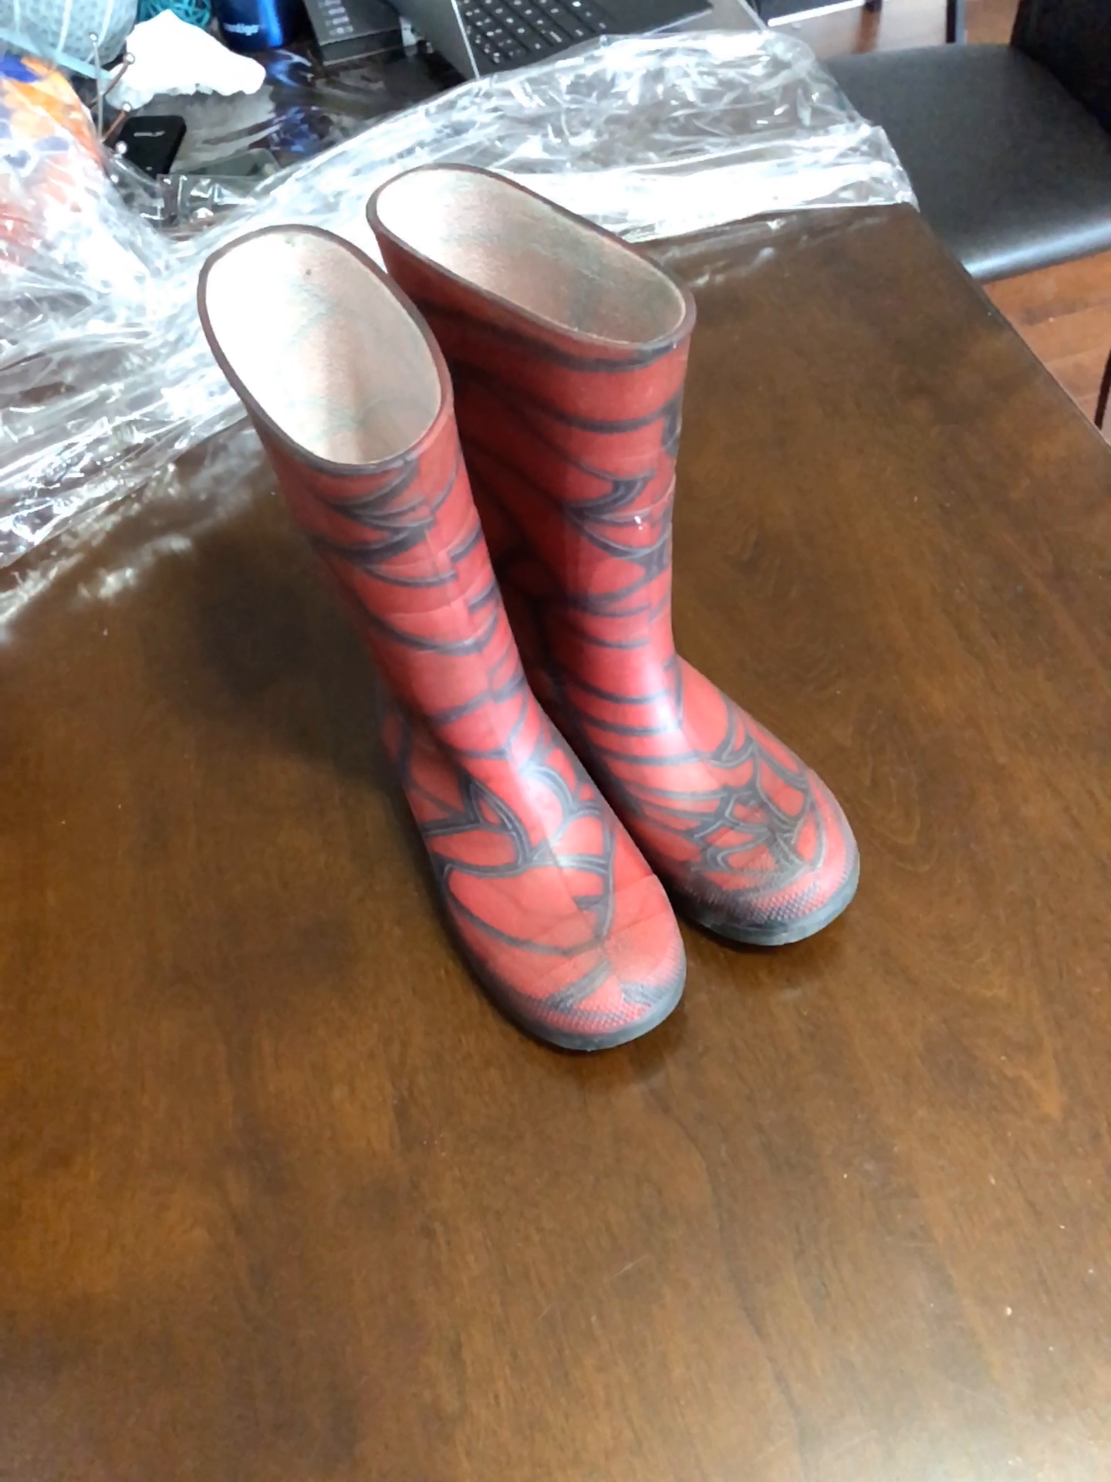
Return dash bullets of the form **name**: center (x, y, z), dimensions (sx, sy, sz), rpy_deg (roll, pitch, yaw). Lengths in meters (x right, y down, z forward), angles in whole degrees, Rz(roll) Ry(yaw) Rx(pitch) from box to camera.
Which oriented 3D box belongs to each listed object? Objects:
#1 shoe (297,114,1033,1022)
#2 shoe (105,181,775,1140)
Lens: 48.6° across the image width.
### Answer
- **shoe**: center (0.028, -0.052, 0.440), dimensions (0.080, 0.239, 0.220), rpy_deg (-34, 58, -18)
- **shoe**: center (-0.033, -0.017, 0.418), dimensions (0.080, 0.239, 0.221), rpy_deg (-29, 56, -15)
